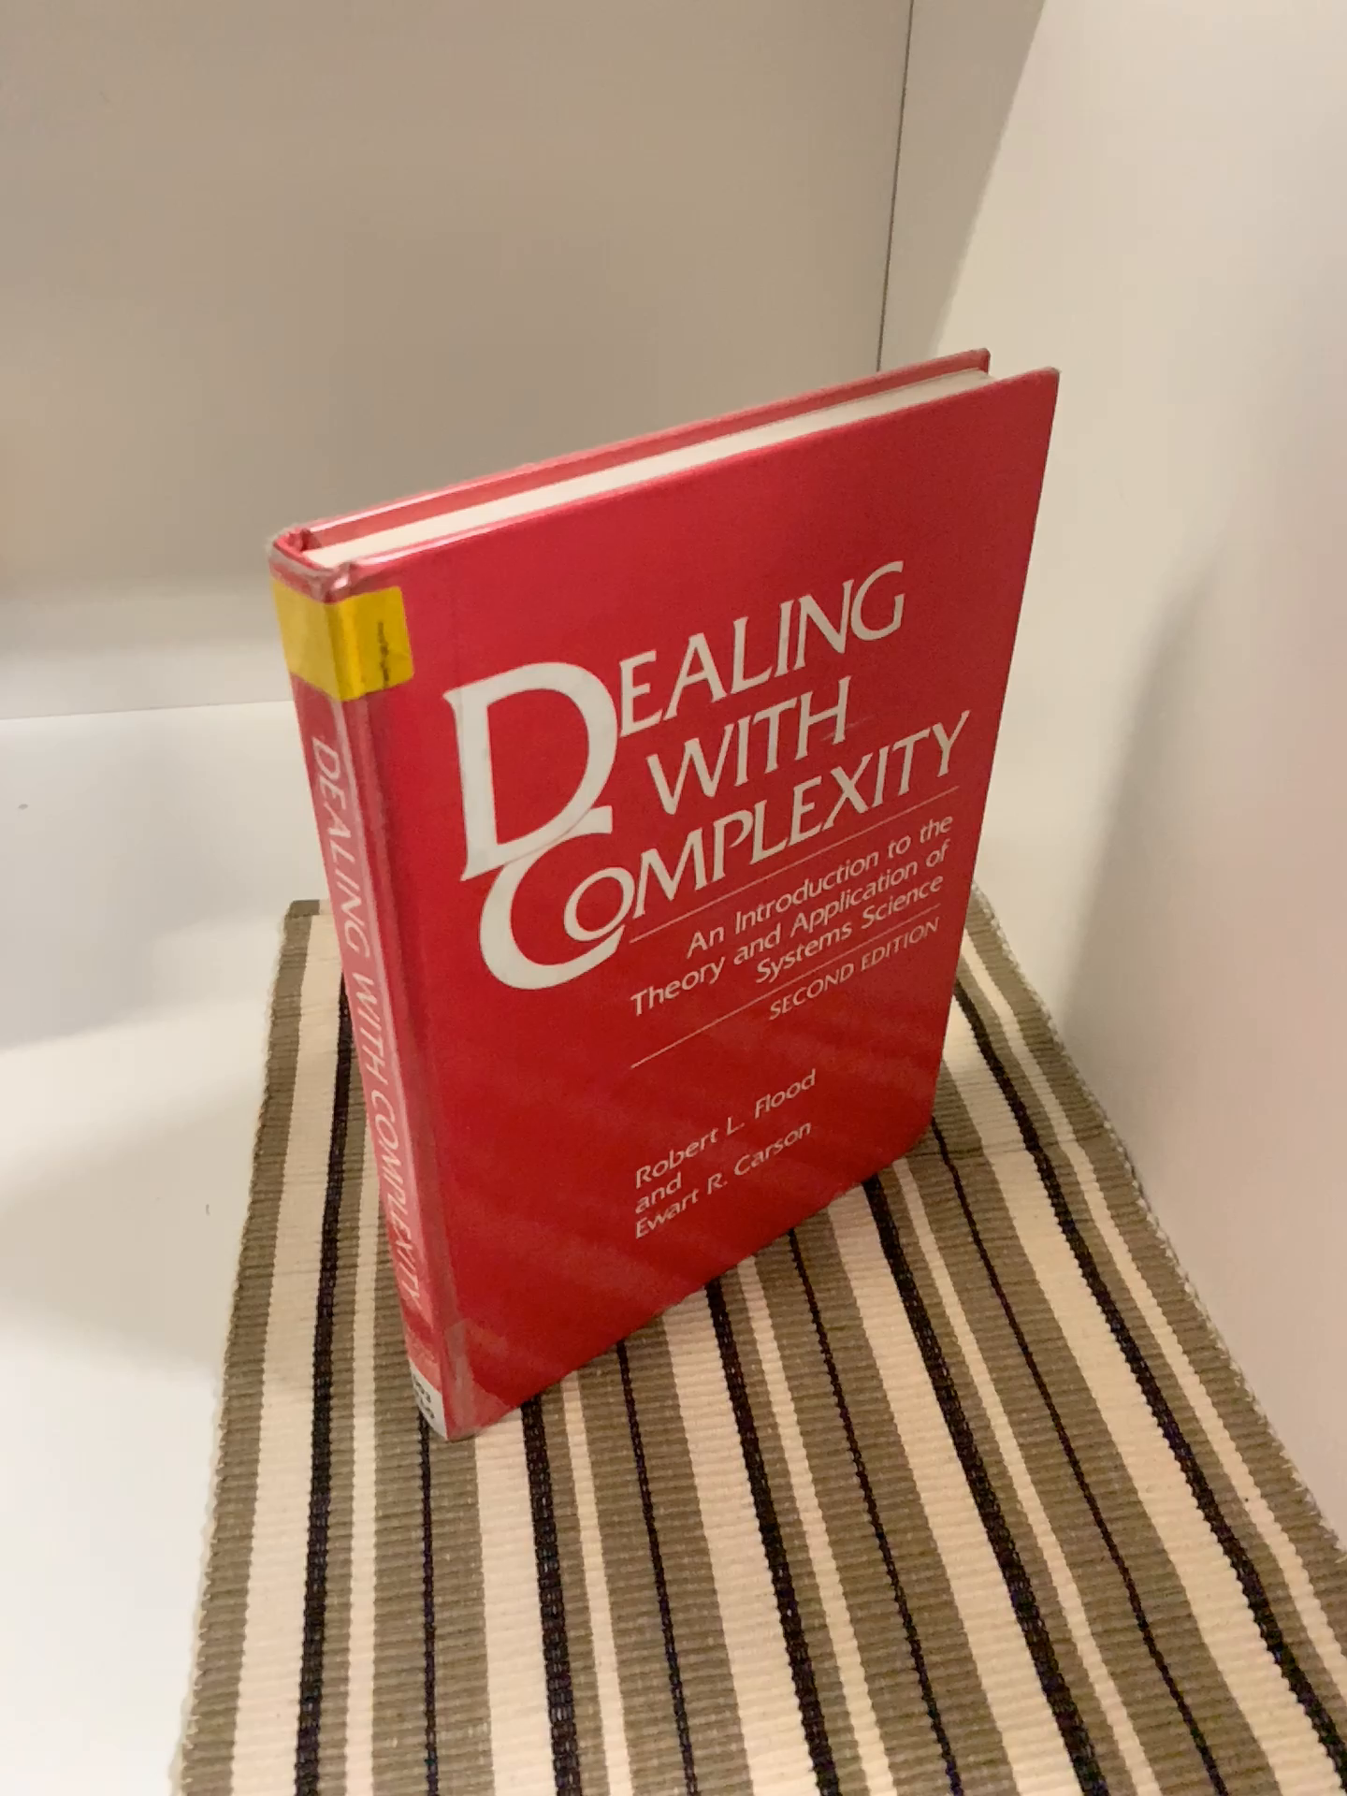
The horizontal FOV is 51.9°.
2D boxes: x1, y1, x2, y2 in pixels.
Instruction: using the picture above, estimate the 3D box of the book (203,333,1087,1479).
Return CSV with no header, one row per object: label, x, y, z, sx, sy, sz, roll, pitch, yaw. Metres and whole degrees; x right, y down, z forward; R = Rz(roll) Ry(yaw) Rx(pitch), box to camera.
book,0.006,0.008,0.350,0.201,0.250,0.030,-25,44,-31
